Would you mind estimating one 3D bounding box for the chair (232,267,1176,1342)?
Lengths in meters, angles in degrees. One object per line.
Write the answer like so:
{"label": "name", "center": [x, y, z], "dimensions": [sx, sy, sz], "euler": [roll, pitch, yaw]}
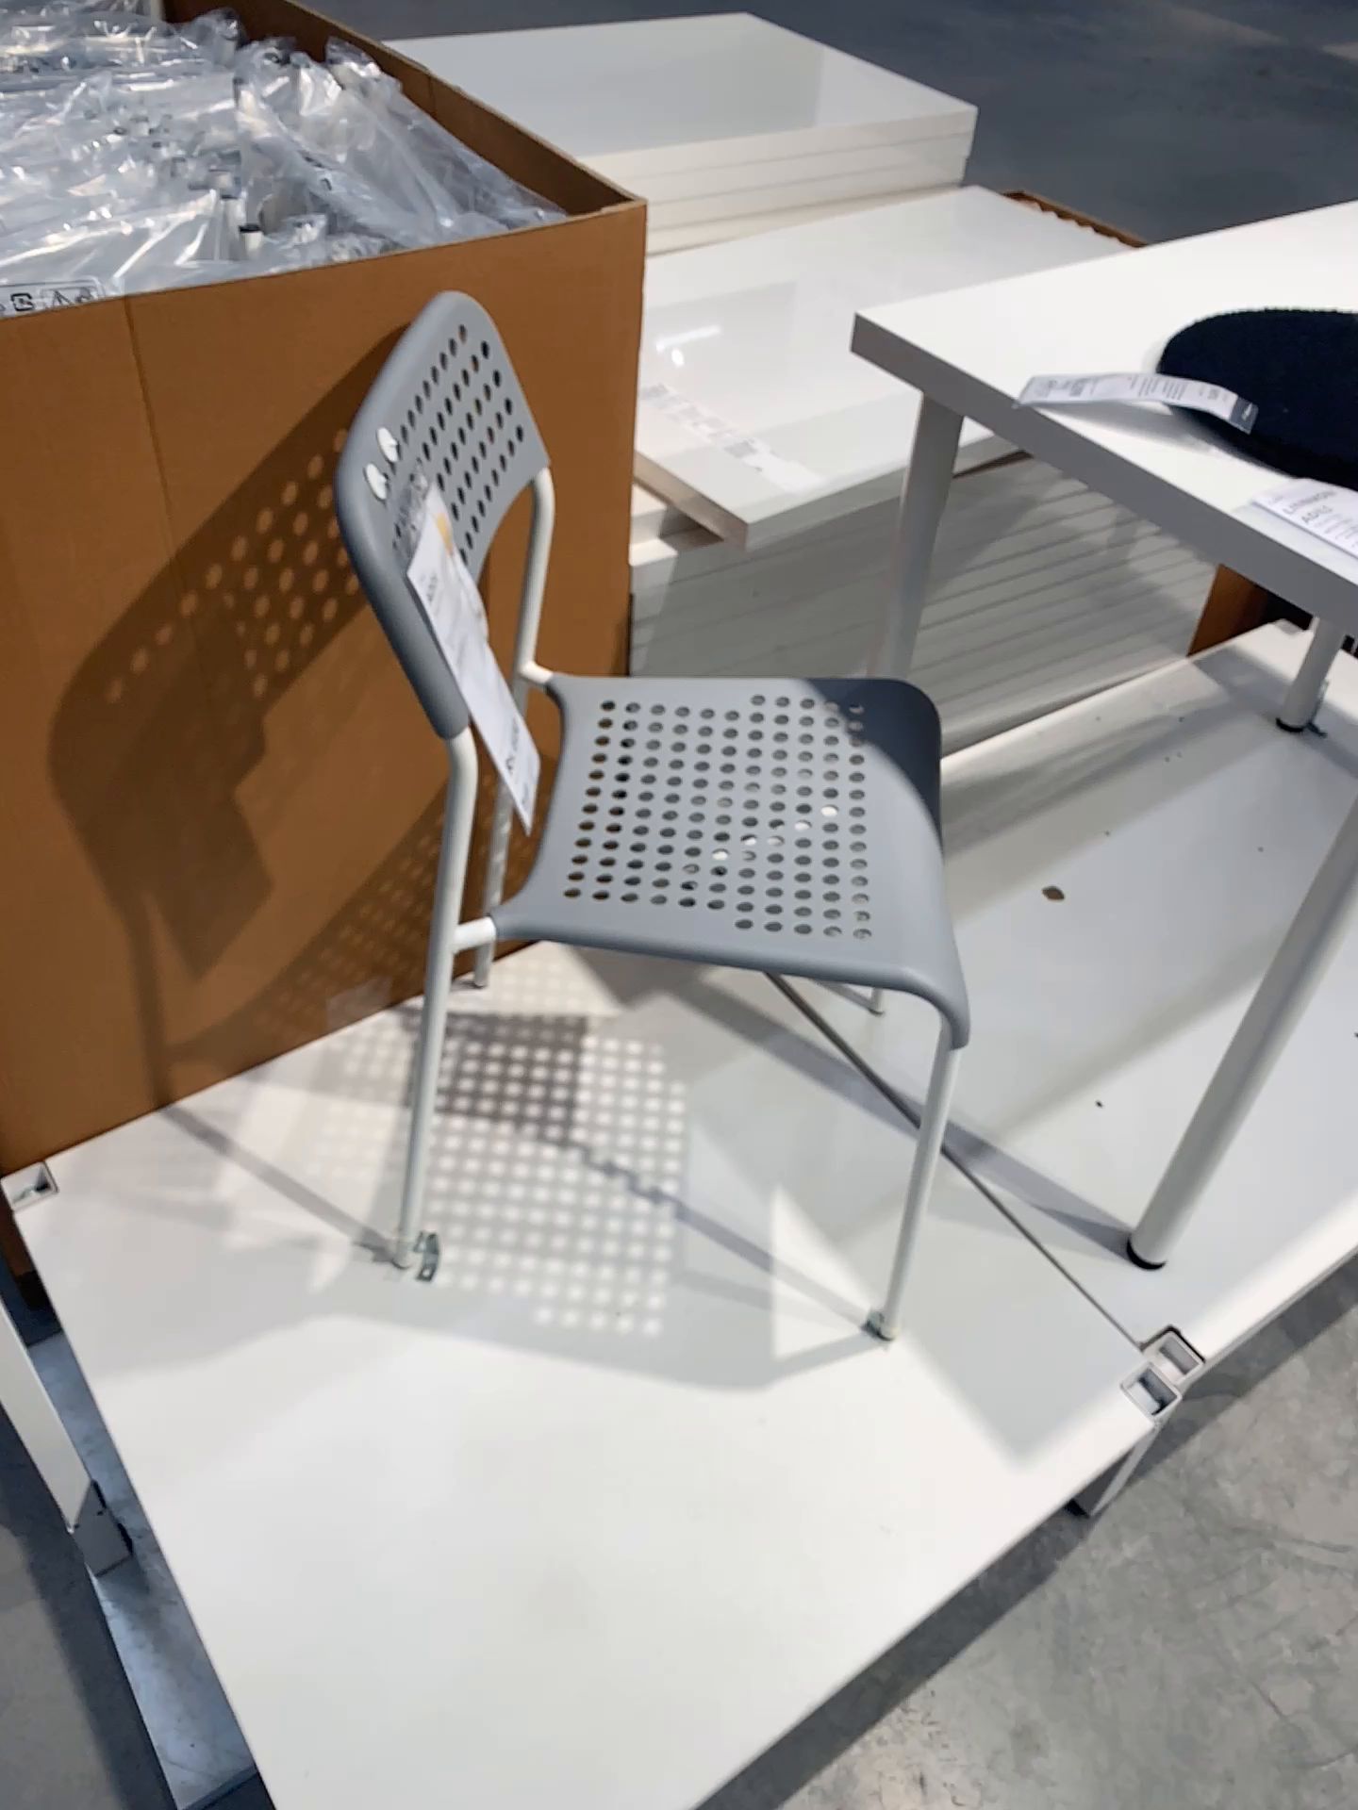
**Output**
{"label": "chair", "center": [0.006, -0.058, 1.137], "dimensions": [0.500, 0.687, 0.462], "euler": [6, 43, 1]}
